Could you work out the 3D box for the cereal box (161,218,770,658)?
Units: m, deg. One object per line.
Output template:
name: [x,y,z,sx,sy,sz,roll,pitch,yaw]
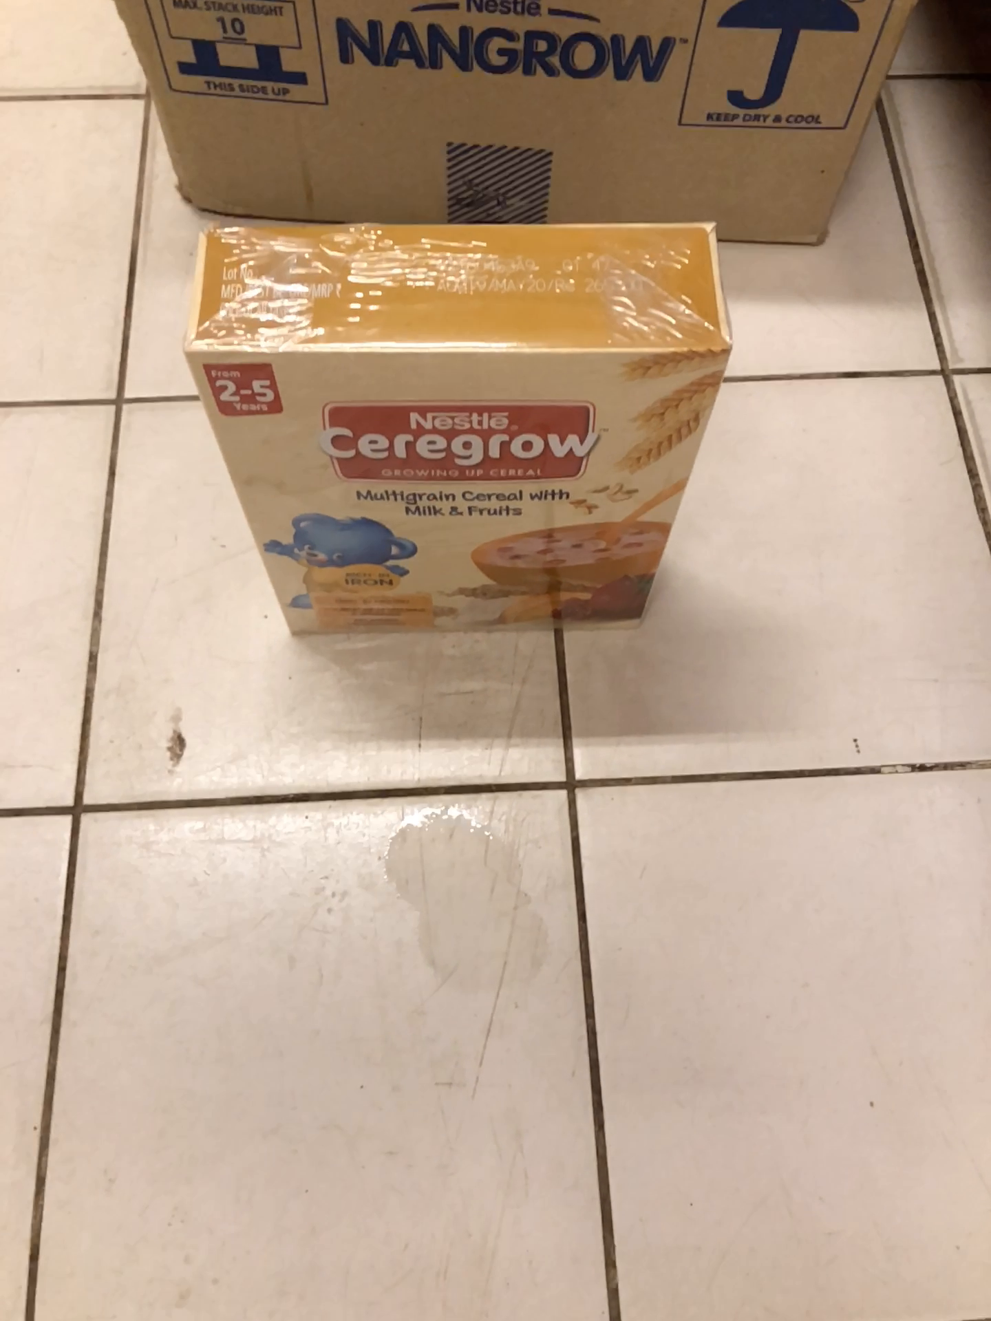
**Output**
cereal box: [-0.010,-0.063,0.385,0.160,0.189,0.050,-2,67,-2]
